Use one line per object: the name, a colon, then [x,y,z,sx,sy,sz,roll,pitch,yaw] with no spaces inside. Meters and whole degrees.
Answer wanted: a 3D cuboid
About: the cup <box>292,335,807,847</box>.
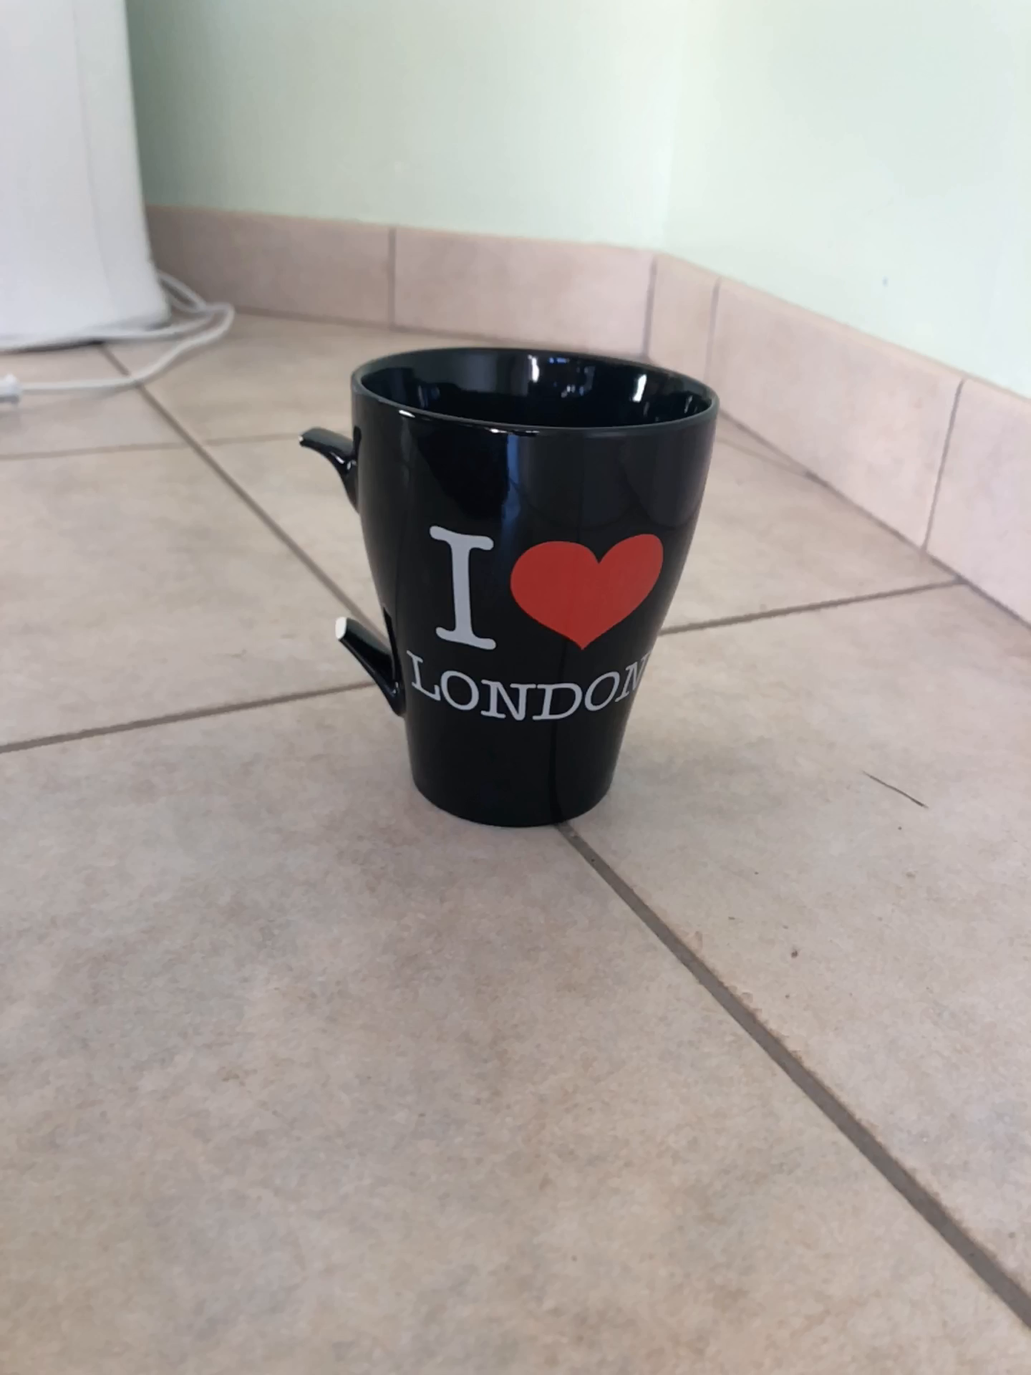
cup: [0.002,-0.029,0.304,0.108,0.103,0.098,3,27,-1]
